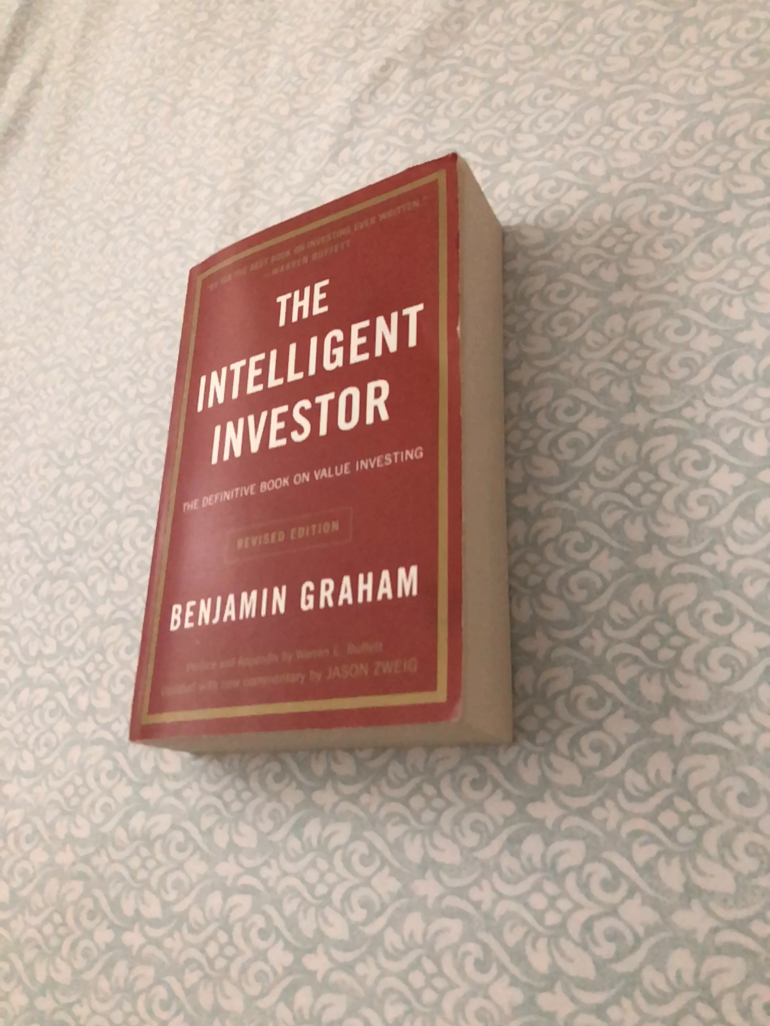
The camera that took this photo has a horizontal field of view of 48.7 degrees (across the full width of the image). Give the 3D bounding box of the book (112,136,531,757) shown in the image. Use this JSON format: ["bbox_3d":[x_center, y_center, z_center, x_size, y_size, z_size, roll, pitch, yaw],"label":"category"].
[{"bbox_3d":[-0.022,-0.019,0.312,0.130,0.050,0.200,-12,65,30],"label":"book"}]
